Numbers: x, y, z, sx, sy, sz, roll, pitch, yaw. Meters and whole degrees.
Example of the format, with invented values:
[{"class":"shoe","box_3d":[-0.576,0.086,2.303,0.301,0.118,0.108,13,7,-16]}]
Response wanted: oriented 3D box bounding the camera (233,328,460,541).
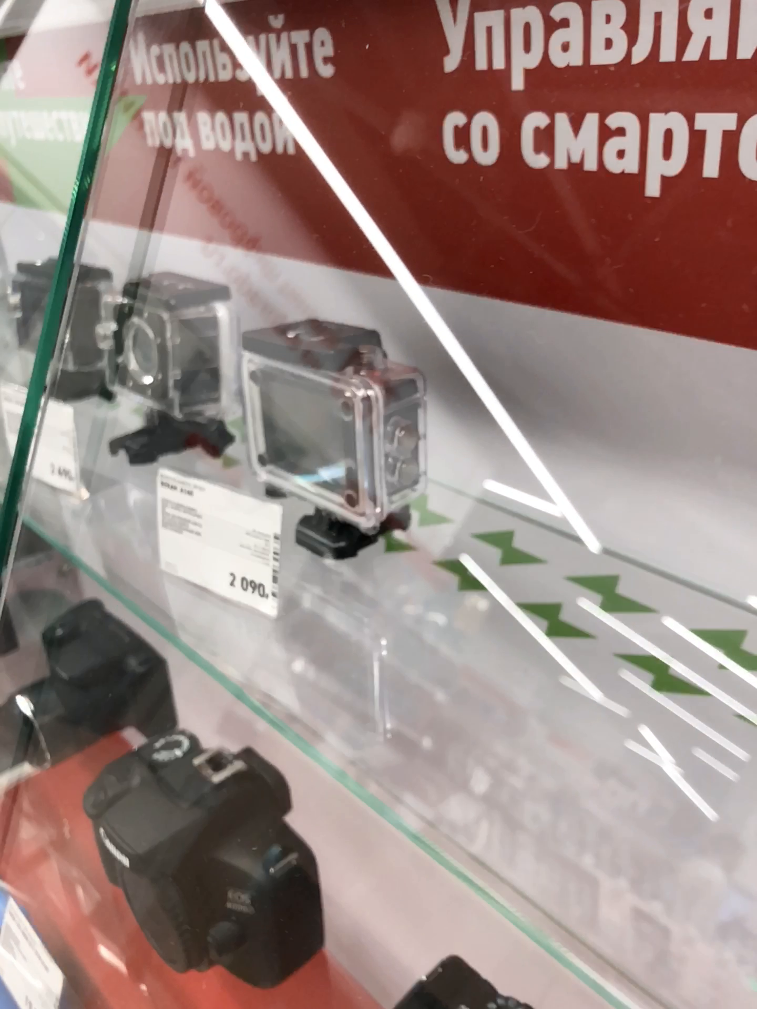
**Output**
[{"class":"camera","box_3d":[-0.012,-0.029,0.311,0.040,0.053,0.075,-23,31,-37]}]
